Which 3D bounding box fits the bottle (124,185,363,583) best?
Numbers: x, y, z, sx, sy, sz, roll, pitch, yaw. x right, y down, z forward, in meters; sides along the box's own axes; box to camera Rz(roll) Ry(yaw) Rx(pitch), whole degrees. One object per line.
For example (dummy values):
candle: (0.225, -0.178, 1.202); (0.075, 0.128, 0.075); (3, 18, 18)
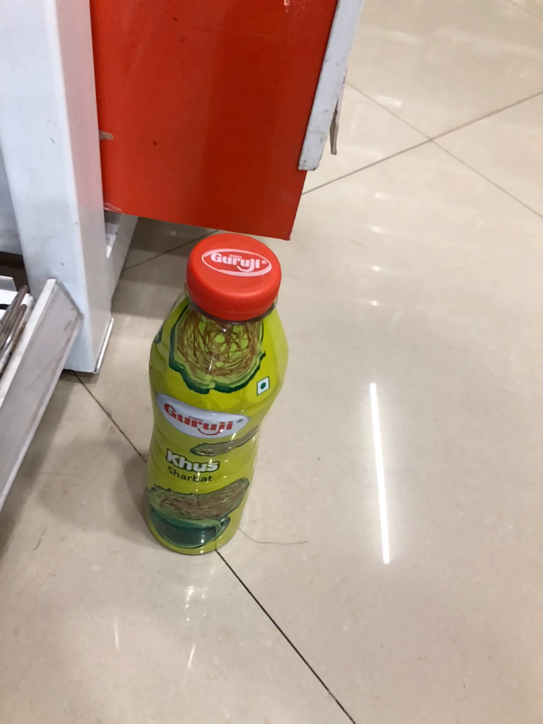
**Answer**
bottle: (-0.025, 0.034, 0.340); (0.080, 0.239, 0.080); (6, 51, -7)
